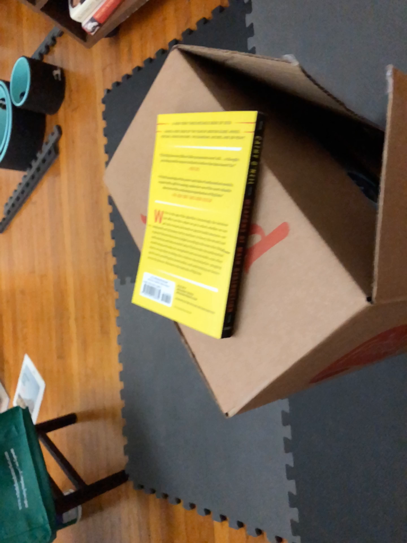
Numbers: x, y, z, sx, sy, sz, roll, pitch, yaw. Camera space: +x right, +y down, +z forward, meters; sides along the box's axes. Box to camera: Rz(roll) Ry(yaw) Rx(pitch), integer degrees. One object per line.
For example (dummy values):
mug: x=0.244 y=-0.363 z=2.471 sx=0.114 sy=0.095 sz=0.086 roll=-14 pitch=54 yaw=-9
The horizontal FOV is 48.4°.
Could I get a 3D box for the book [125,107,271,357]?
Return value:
book: x=-0.015 y=-0.046 z=0.454 sx=0.151 sy=0.020 sz=0.220 roll=17 pitch=103 yaw=45
